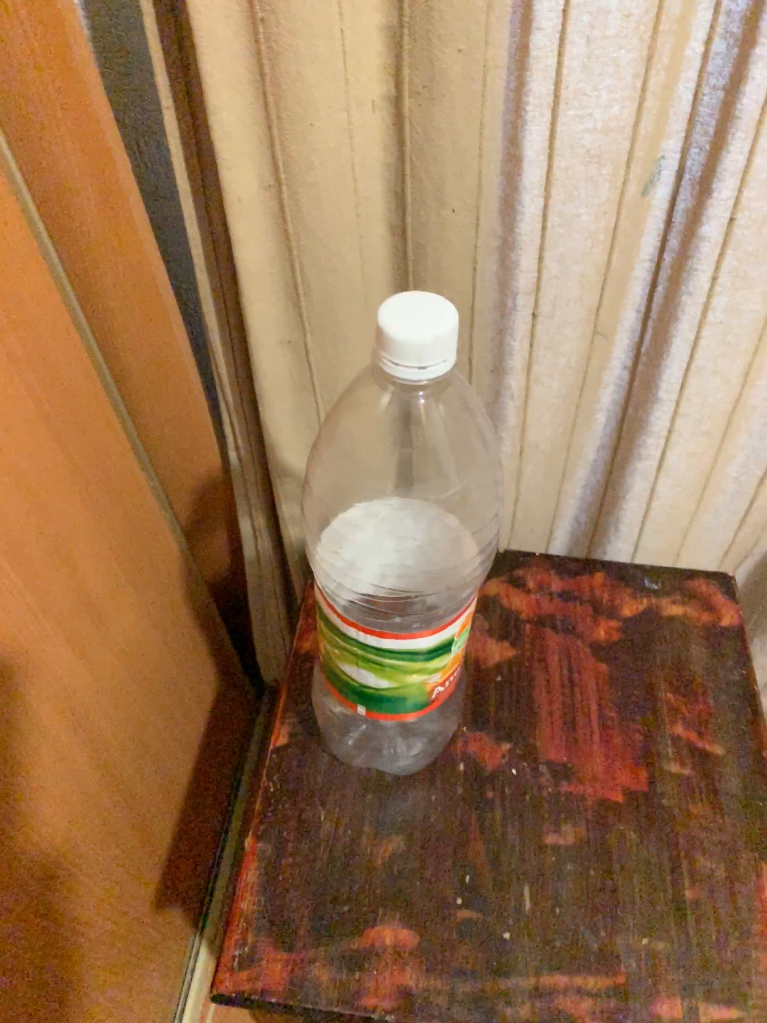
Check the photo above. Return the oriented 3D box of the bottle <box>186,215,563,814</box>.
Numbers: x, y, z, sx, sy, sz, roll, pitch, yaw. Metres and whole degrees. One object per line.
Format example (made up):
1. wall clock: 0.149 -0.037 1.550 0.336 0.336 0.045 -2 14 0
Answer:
1. bottle: 0.003 0.032 0.398 0.100 0.317 0.101 -1 51 1
